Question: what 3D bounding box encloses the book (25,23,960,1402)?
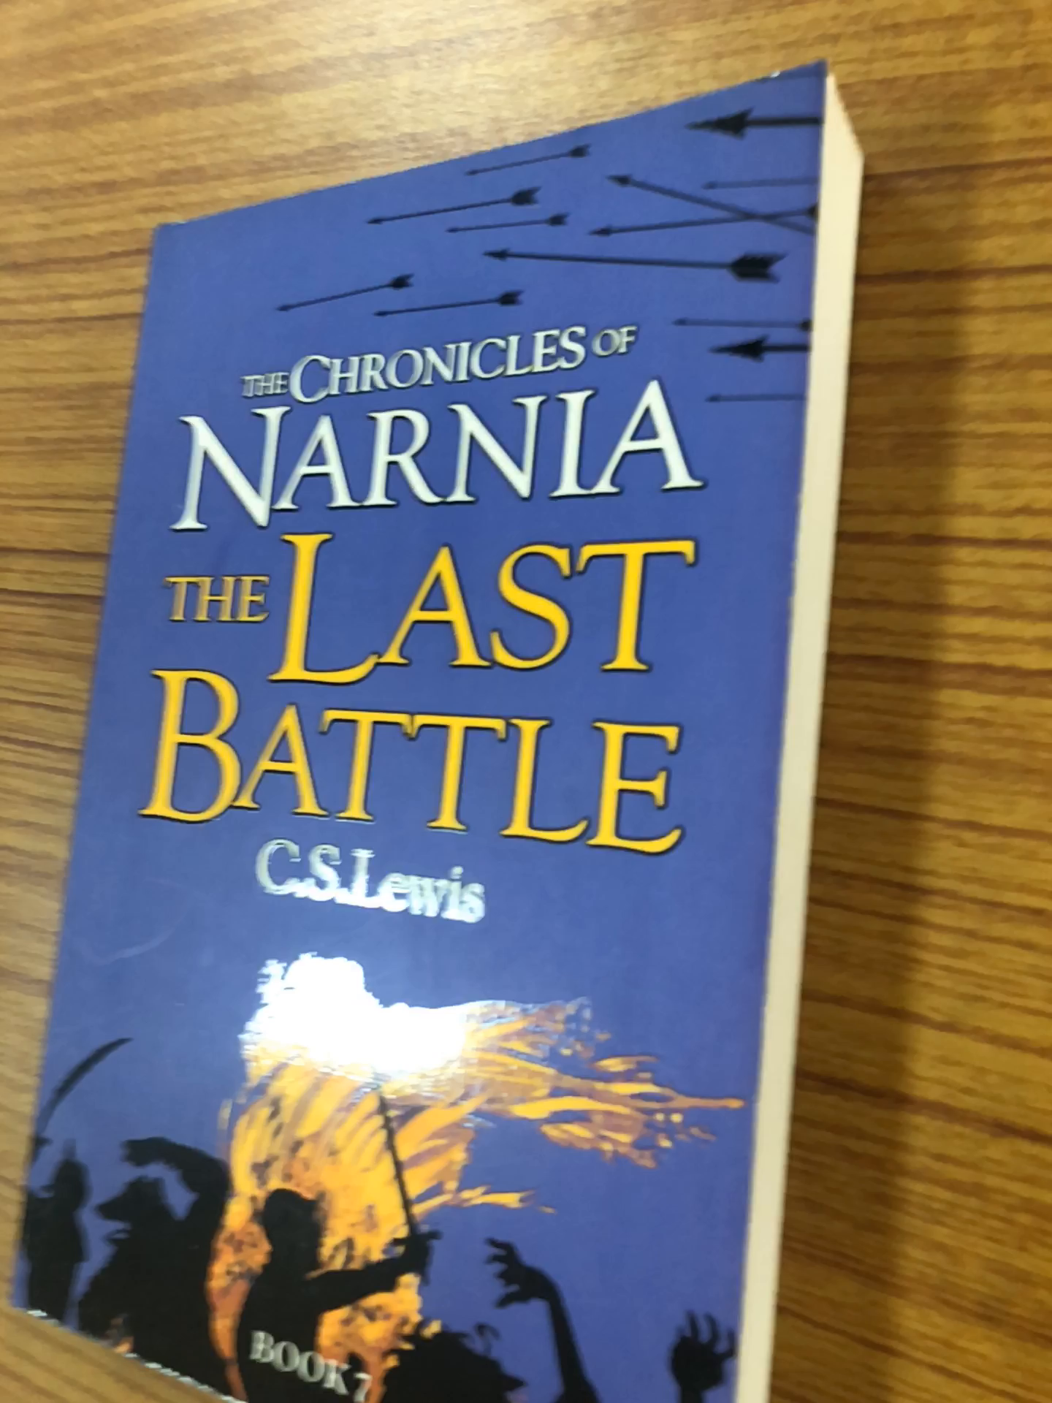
[{"bbox_3d":[-0.011,0.009,0.194,0.140,0.030,0.200,3,85,29],"label":"book"}]
